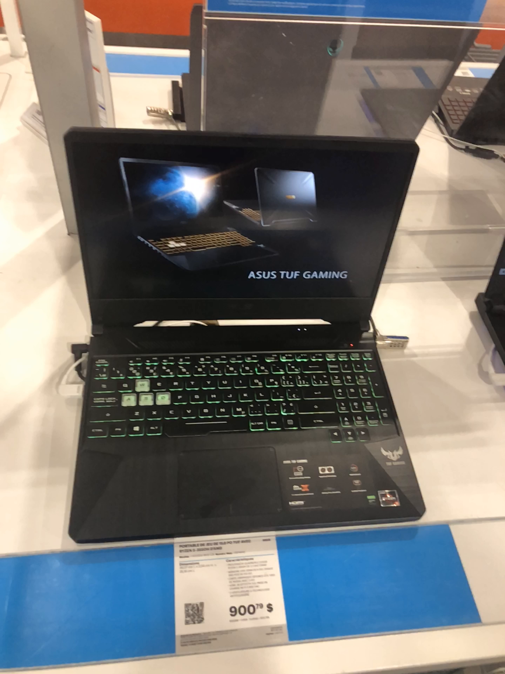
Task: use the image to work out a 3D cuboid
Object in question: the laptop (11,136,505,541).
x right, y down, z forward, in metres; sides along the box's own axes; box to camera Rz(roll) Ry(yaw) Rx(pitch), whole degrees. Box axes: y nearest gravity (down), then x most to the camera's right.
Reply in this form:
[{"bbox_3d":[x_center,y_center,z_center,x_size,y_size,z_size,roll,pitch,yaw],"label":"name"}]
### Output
[{"bbox_3d":[0.001,-0.006,0.554,0.350,0.235,0.302,-1,51,-8],"label":"laptop"}]
